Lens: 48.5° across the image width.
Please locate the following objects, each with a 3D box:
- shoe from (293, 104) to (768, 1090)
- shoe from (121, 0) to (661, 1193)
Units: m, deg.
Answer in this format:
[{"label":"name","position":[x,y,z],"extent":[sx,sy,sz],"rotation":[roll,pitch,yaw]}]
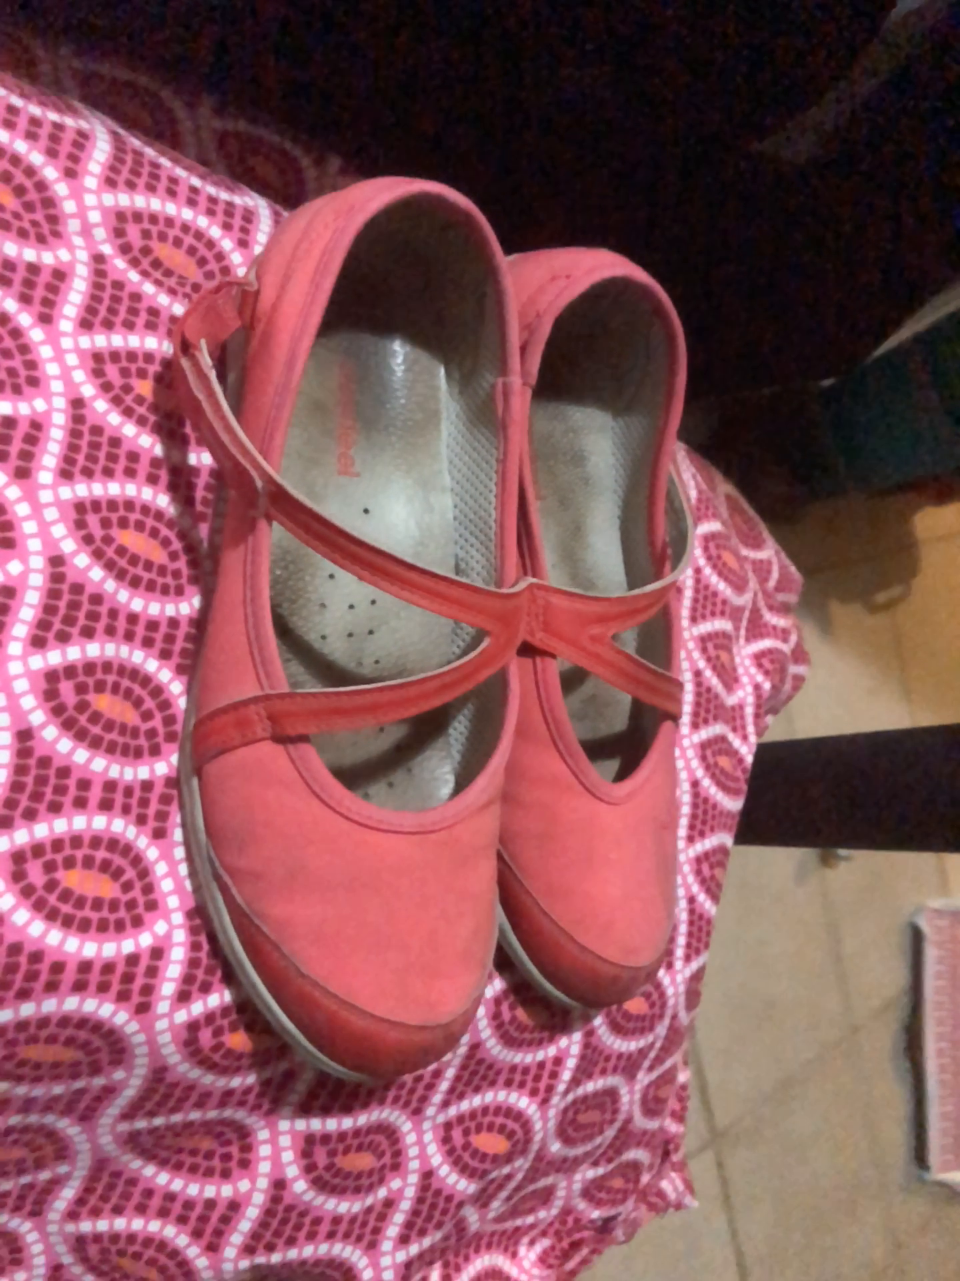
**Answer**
[{"label":"shoe","position":[0.016,-0.014,0.395],"extent":[0.111,0.099,0.300],"rotation":[-1,84,-40]},{"label":"shoe","position":[-0.031,-0.013,0.329],"extent":[0.111,0.099,0.290],"rotation":[0,83,-40]}]
